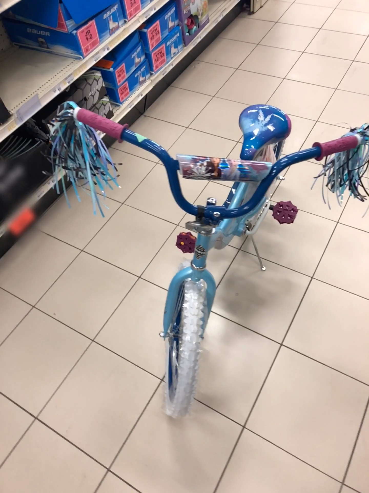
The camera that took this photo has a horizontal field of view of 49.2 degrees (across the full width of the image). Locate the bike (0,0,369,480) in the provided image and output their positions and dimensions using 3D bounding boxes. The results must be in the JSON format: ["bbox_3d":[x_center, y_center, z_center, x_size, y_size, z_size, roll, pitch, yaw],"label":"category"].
[{"bbox_3d":[0.183,-0.134,1.182,0.641,0.953,1.179,14,53,17],"label":"bike"}]
